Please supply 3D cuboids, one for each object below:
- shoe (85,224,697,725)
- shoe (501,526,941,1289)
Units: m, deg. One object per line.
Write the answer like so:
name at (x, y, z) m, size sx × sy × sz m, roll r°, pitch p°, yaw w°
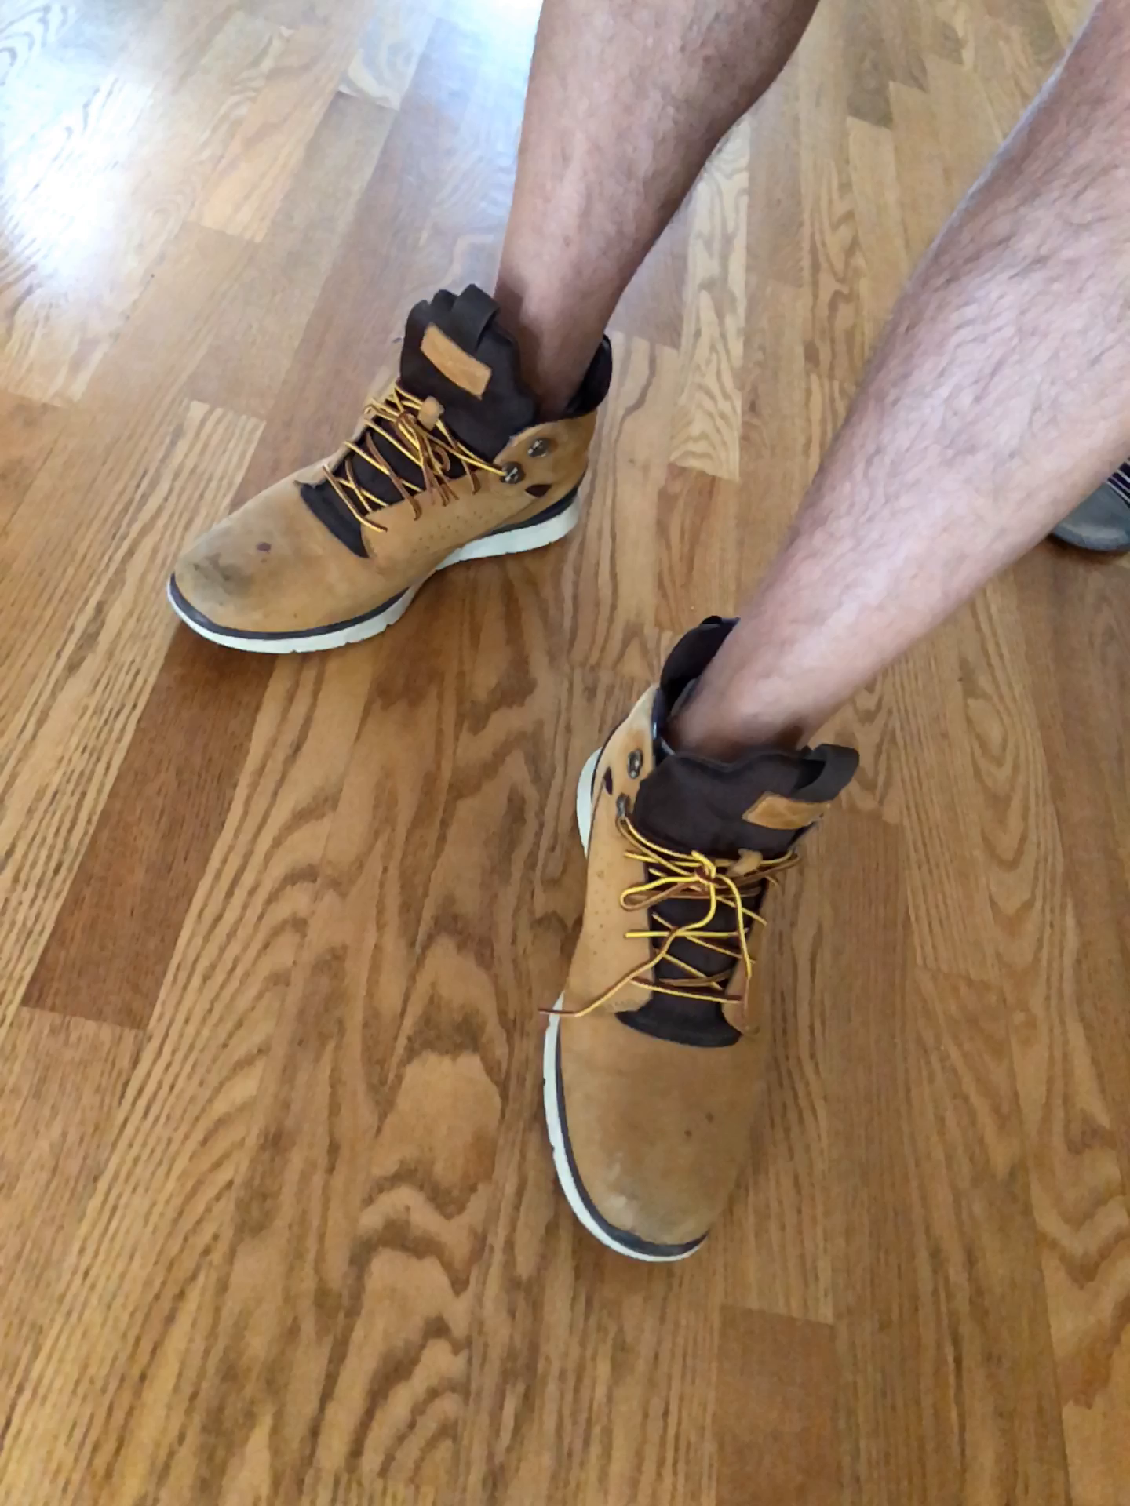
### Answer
shoe at (-0.092, -0.167, 0.694) m, size 0.311 × 0.149 × 0.120 m, roll -32°, pitch 70°, yaw -36°
shoe at (0.060, 0.061, 0.553) m, size 0.120 × 0.139 × 0.291 m, roll 13°, pitch 51°, yaw -11°
